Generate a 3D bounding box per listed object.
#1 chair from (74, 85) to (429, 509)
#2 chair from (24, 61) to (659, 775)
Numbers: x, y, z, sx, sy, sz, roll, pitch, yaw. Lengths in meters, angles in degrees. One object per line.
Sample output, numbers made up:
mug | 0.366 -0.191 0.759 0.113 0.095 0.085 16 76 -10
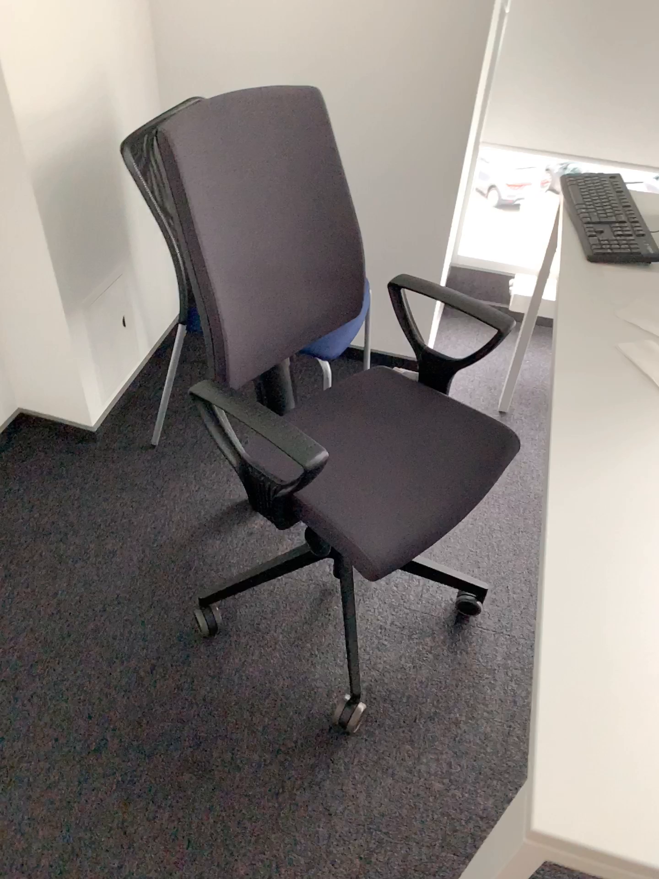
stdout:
chair | -0.159 -0.399 1.838 0.610 0.805 0.674 15 44 11
chair | 0.032 -0.049 1.310 0.681 1.004 0.693 32 49 26
